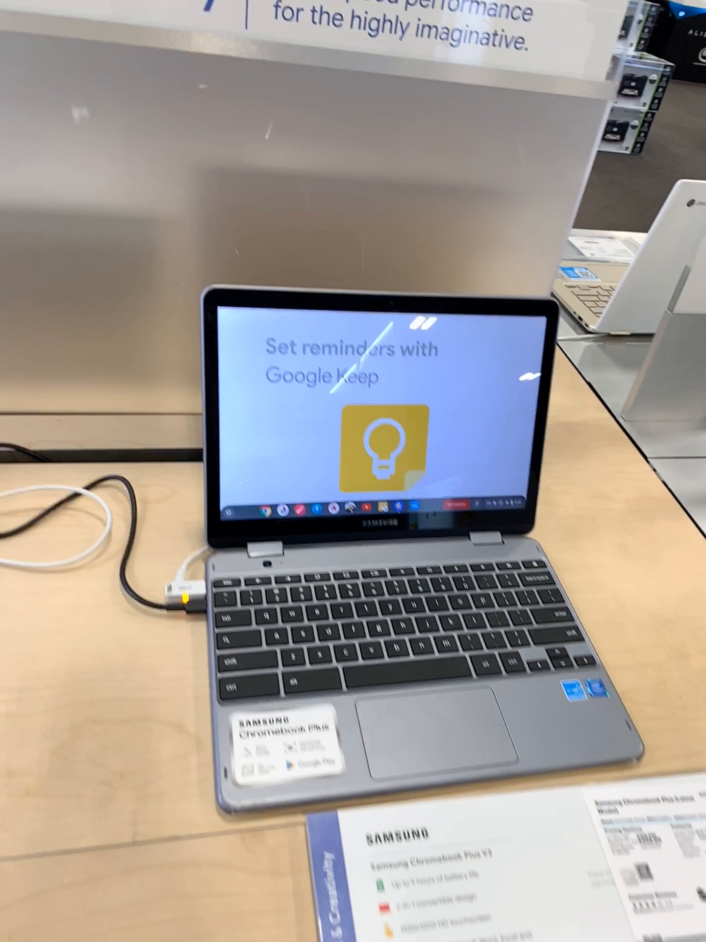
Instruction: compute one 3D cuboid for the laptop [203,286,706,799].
[{"bbox_3d":[0.043,0.027,0.500,0.274,0.183,0.276,-2,41,-14],"label":"laptop"}]
